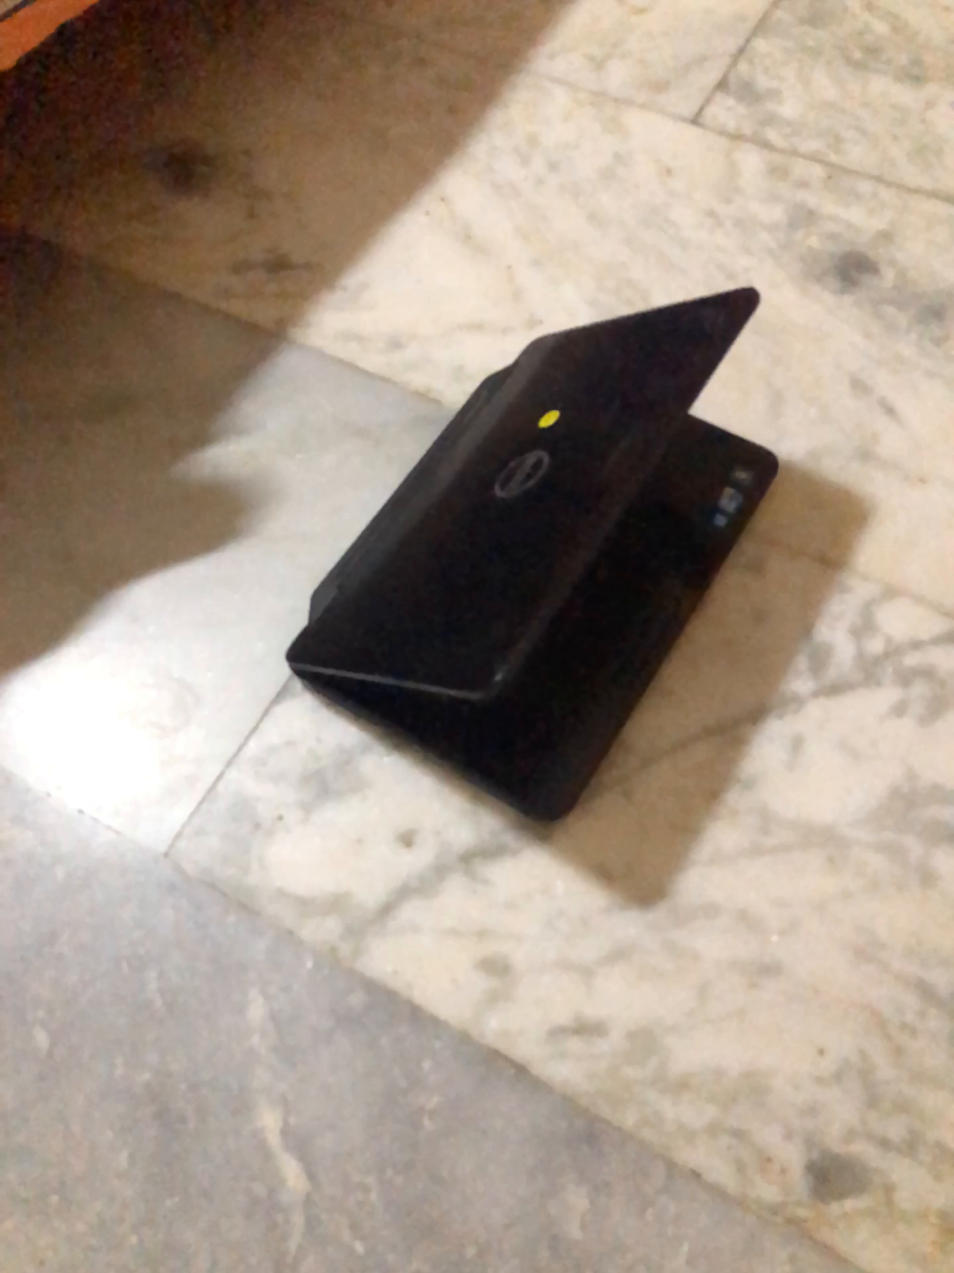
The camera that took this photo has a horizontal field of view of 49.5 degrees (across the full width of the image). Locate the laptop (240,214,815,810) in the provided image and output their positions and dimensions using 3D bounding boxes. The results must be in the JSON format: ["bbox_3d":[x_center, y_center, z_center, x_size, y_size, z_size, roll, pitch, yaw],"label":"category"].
[{"bbox_3d":[0.047,-0.101,0.747,0.234,0.161,0.352,26,64,17],"label":"laptop"}]
